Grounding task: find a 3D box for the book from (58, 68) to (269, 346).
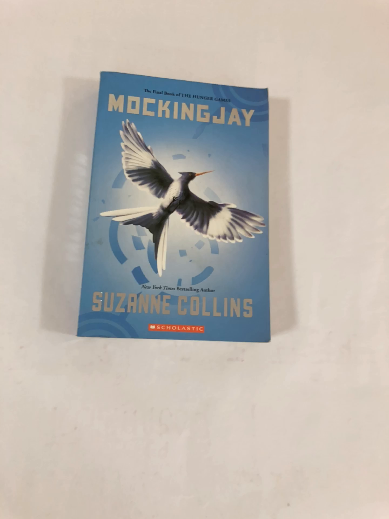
[{"bbox_3d":[-0.017,-0.036,0.316,0.138,0.029,0.190,3,79,-9],"label":"book"}]
